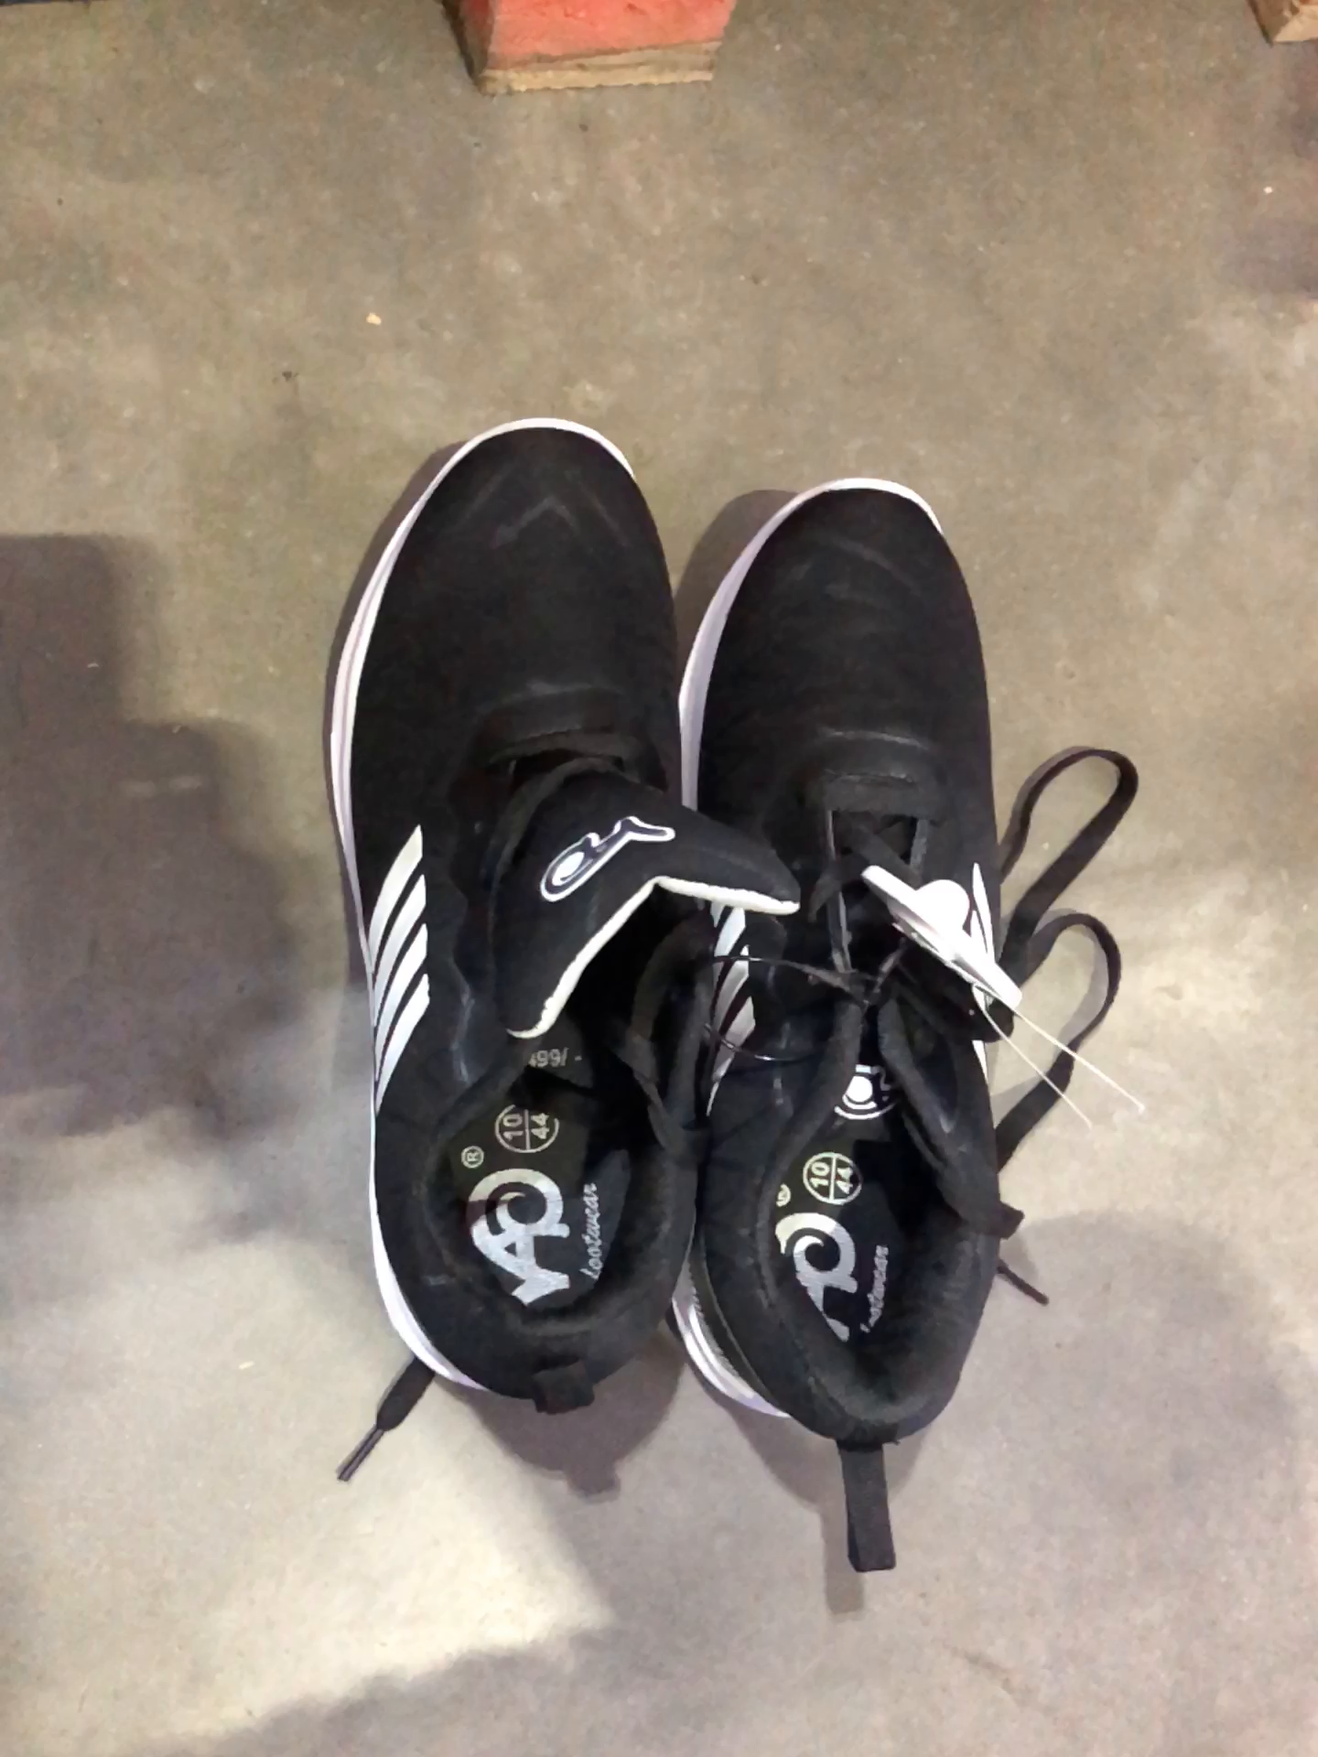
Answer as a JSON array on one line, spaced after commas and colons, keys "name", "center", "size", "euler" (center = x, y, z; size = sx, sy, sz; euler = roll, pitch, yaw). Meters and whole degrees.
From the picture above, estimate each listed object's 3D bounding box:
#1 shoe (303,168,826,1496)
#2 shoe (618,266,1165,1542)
[{"name": "shoe", "center": [-0.039, -0.014, 0.426], "size": [0.120, 0.130, 0.330], "euler": [0, 78, -11]}, {"name": "shoe", "center": [0.062, 0.008, 0.431], "size": [0.110, 0.130, 0.320], "euler": [5, 77, -10]}]
